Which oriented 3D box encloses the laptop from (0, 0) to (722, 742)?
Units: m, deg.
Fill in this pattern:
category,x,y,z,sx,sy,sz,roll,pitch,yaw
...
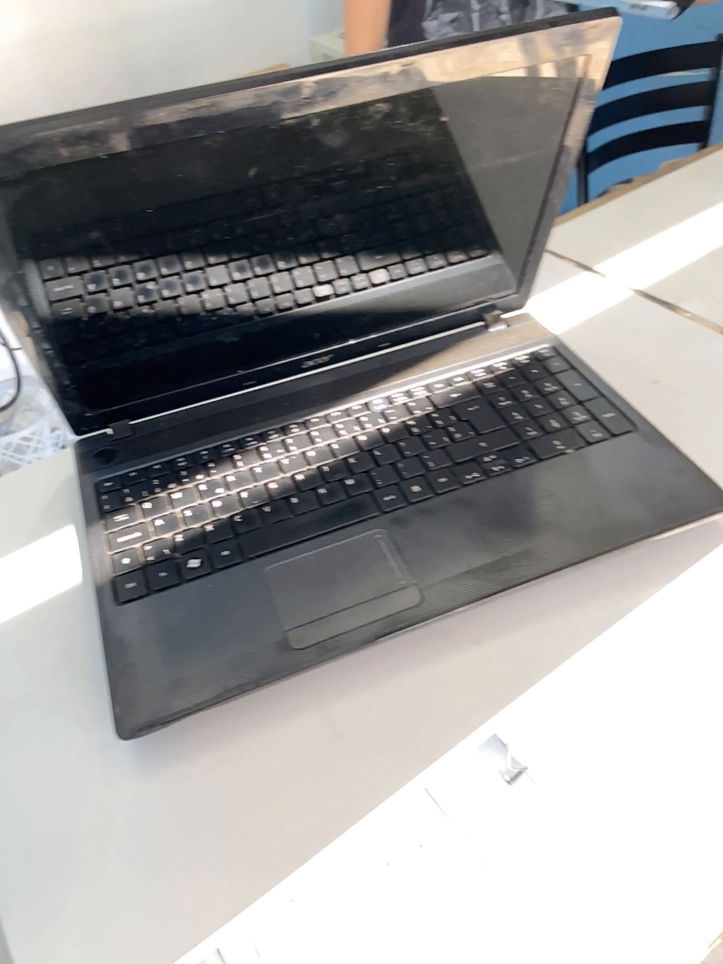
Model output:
category,x,y,z,sx,sy,sz,roll,pitch,yaw
laptop,-0.008,-0.087,0.423,0.374,0.234,0.255,-18,45,-12
